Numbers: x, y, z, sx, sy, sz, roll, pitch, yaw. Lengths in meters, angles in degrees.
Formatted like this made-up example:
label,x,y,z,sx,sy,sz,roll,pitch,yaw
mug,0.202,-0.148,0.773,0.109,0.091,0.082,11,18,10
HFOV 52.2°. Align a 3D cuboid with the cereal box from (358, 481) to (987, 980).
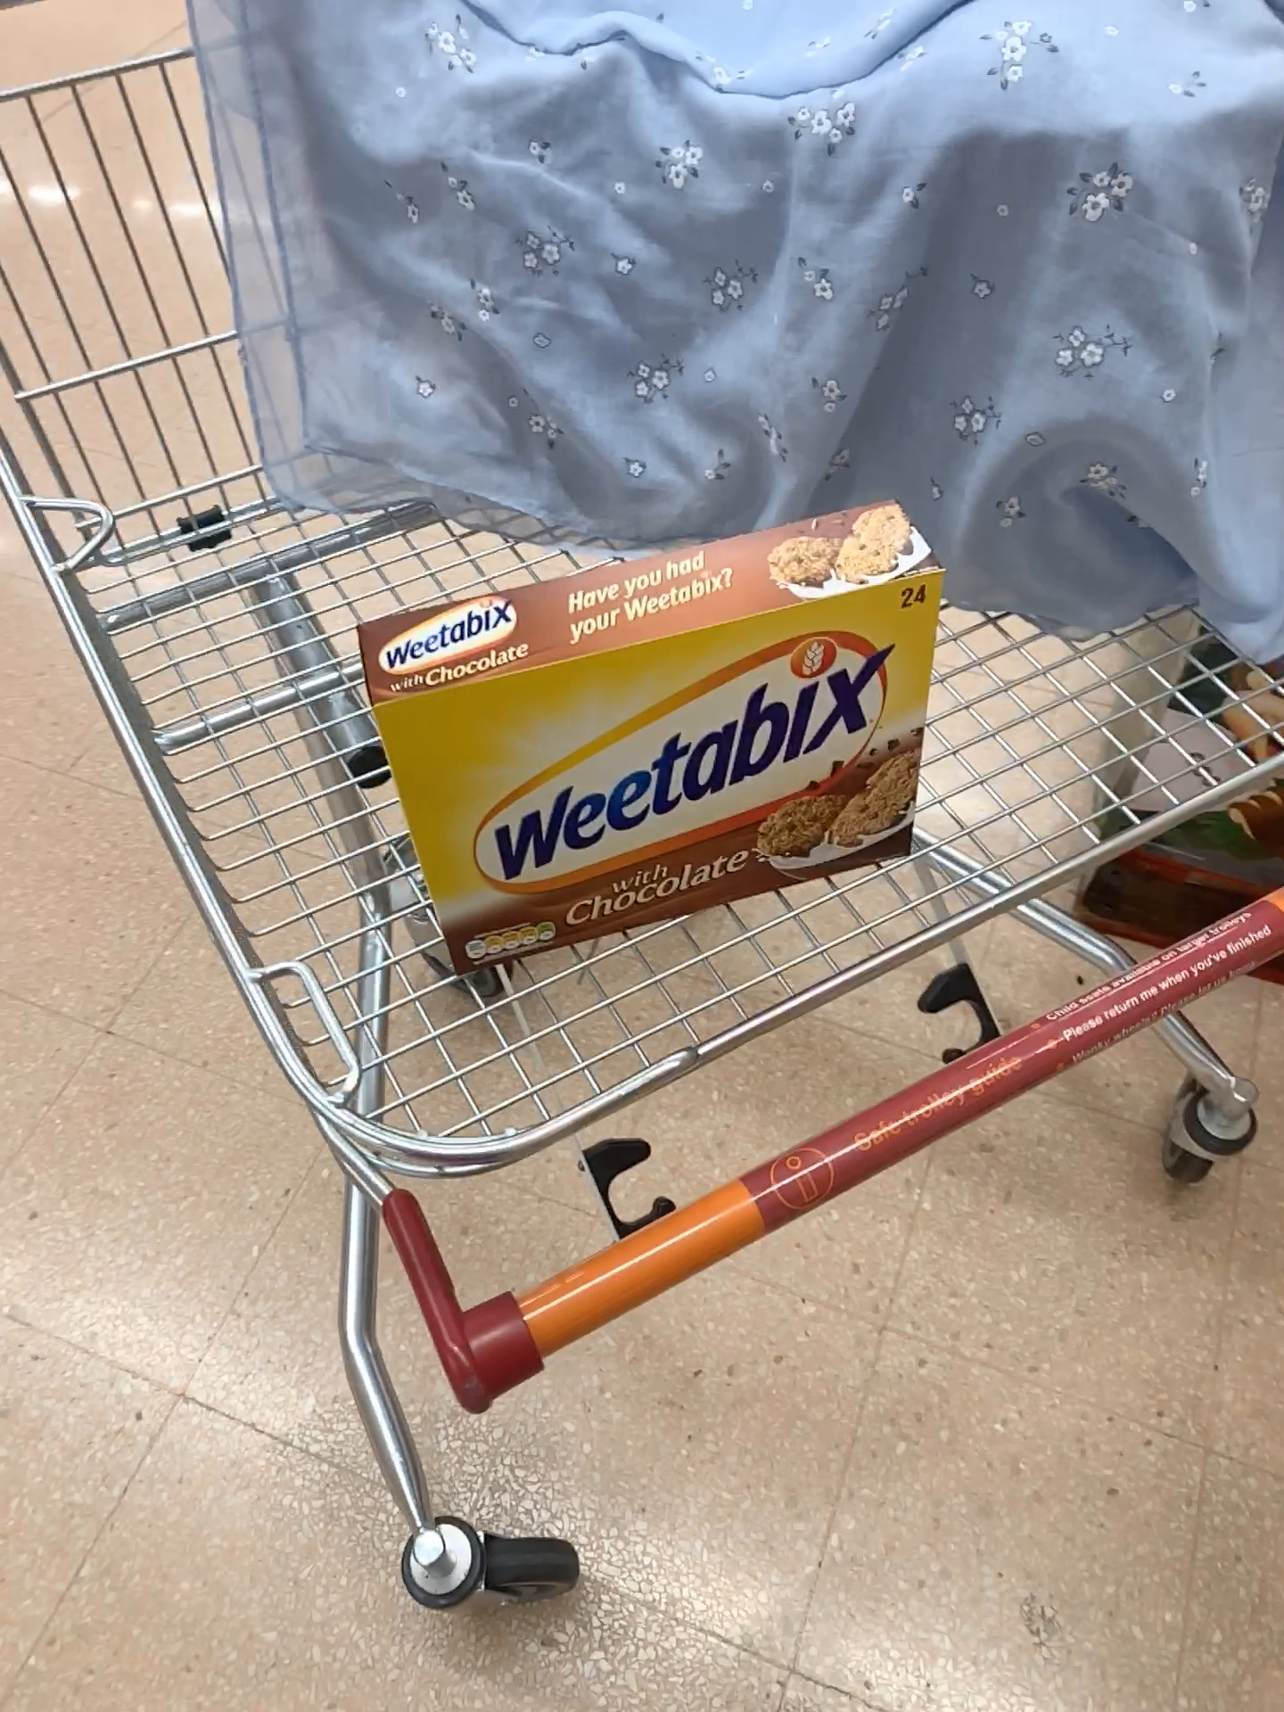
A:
label,x,y,z,sx,sy,sz,roll,pitch,yaw
cereal box,0.016,-0.052,0.608,0.250,0.188,0.060,-14,51,-9
